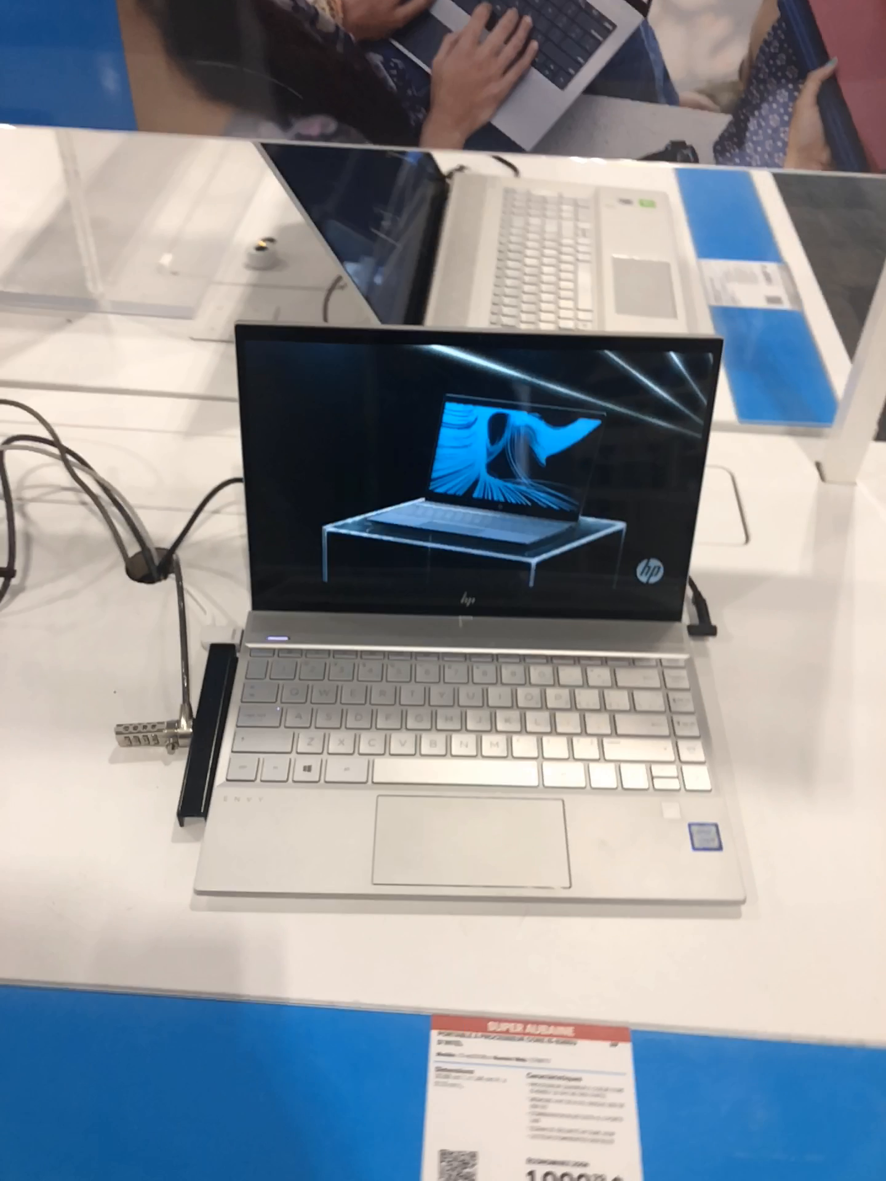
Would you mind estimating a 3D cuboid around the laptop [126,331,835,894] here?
[{"bbox_3d":[0.018,0.005,0.571,0.298,0.182,0.273,1,45,-1],"label":"laptop"}]
